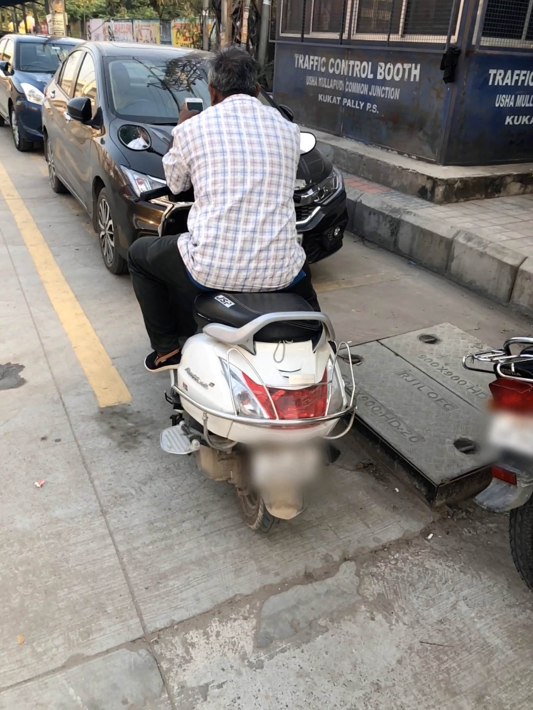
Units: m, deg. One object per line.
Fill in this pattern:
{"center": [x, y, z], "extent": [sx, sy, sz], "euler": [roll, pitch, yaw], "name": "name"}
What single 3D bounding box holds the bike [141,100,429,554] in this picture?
{"center": [-0.078, -0.295, 2.307], "extent": [0.641, 0.858, 1.608], "euler": [-5, 37, -15], "name": "bike"}
